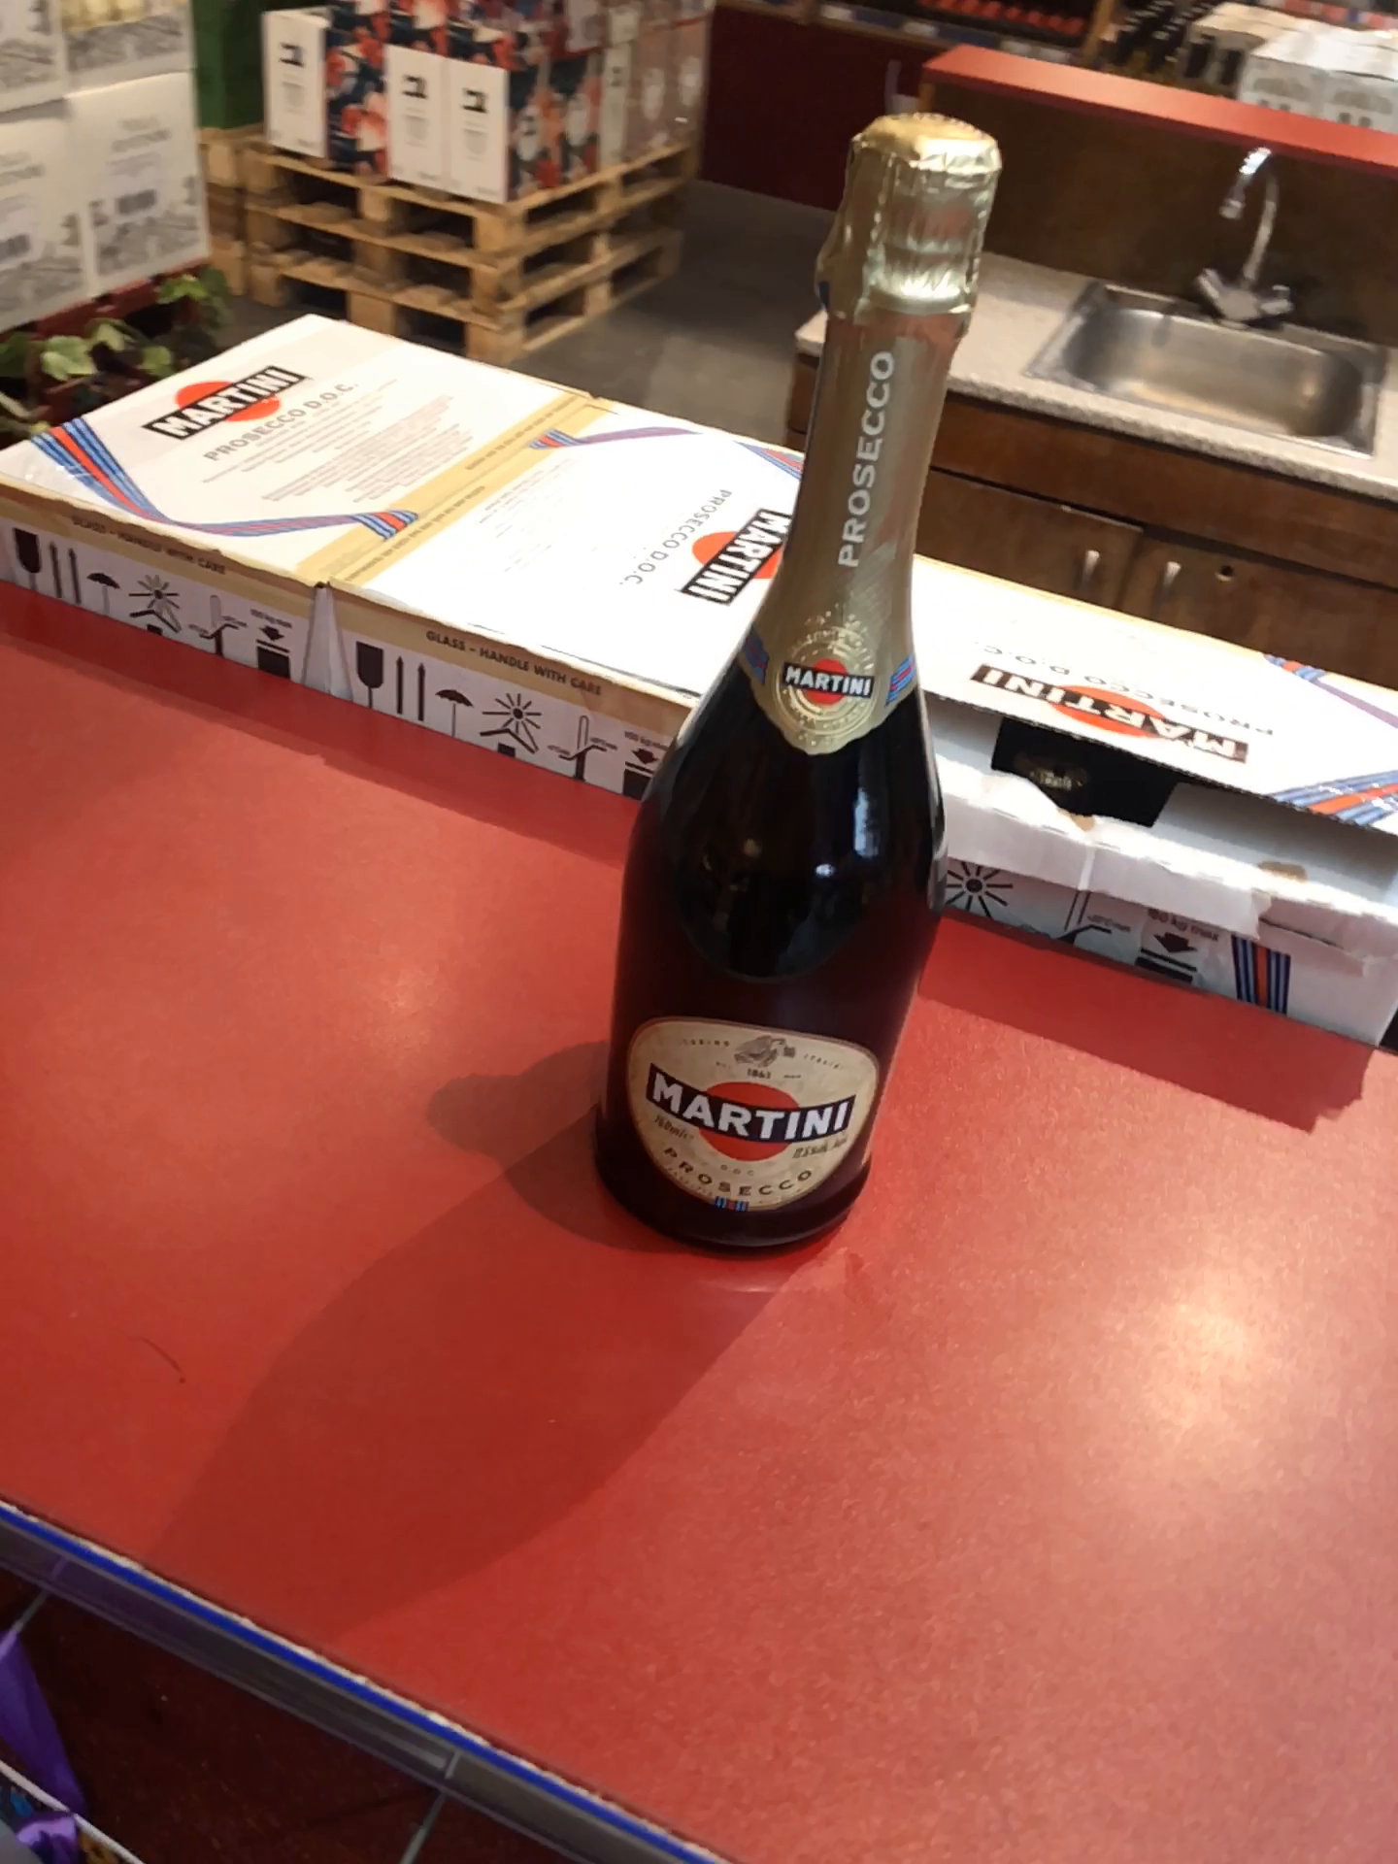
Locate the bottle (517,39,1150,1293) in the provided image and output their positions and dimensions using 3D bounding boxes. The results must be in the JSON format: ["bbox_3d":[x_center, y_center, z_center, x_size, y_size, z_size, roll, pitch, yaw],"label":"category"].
[{"bbox_3d":[0.019,-0.047,0.401,0.099,0.302,0.090,11,38,2],"label":"bottle"}]
